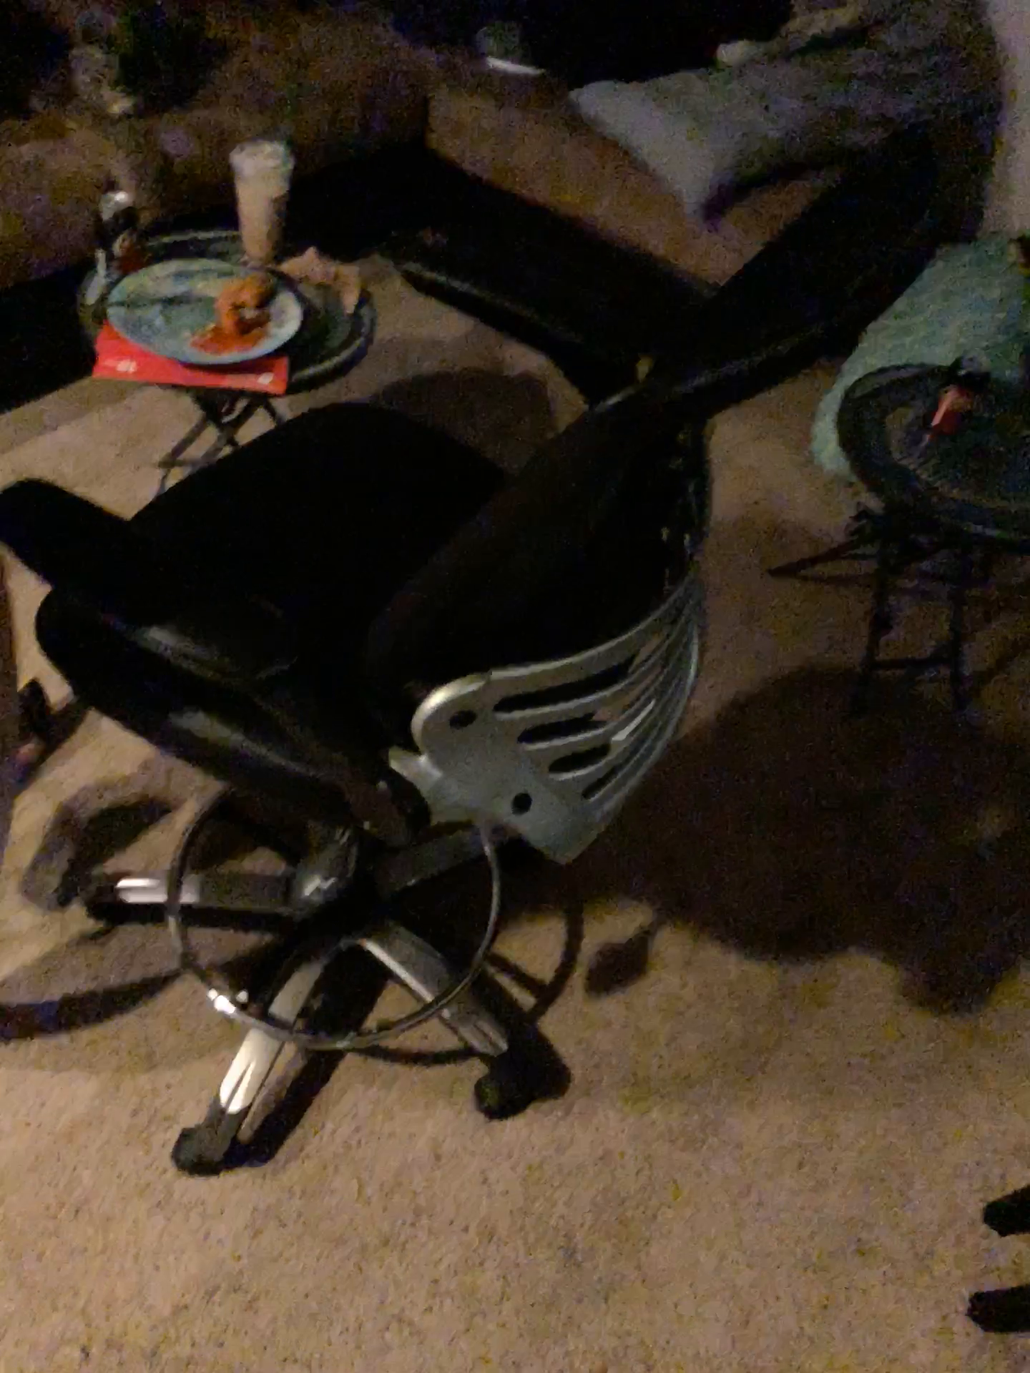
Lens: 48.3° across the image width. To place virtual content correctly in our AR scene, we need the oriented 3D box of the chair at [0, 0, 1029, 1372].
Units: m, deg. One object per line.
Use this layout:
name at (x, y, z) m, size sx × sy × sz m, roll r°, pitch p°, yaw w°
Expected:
chair at (-0.128, -0.025, 1.121) m, size 0.700 × 1.120 × 0.780 m, roll 30°, pitch 51°, yaw 14°
